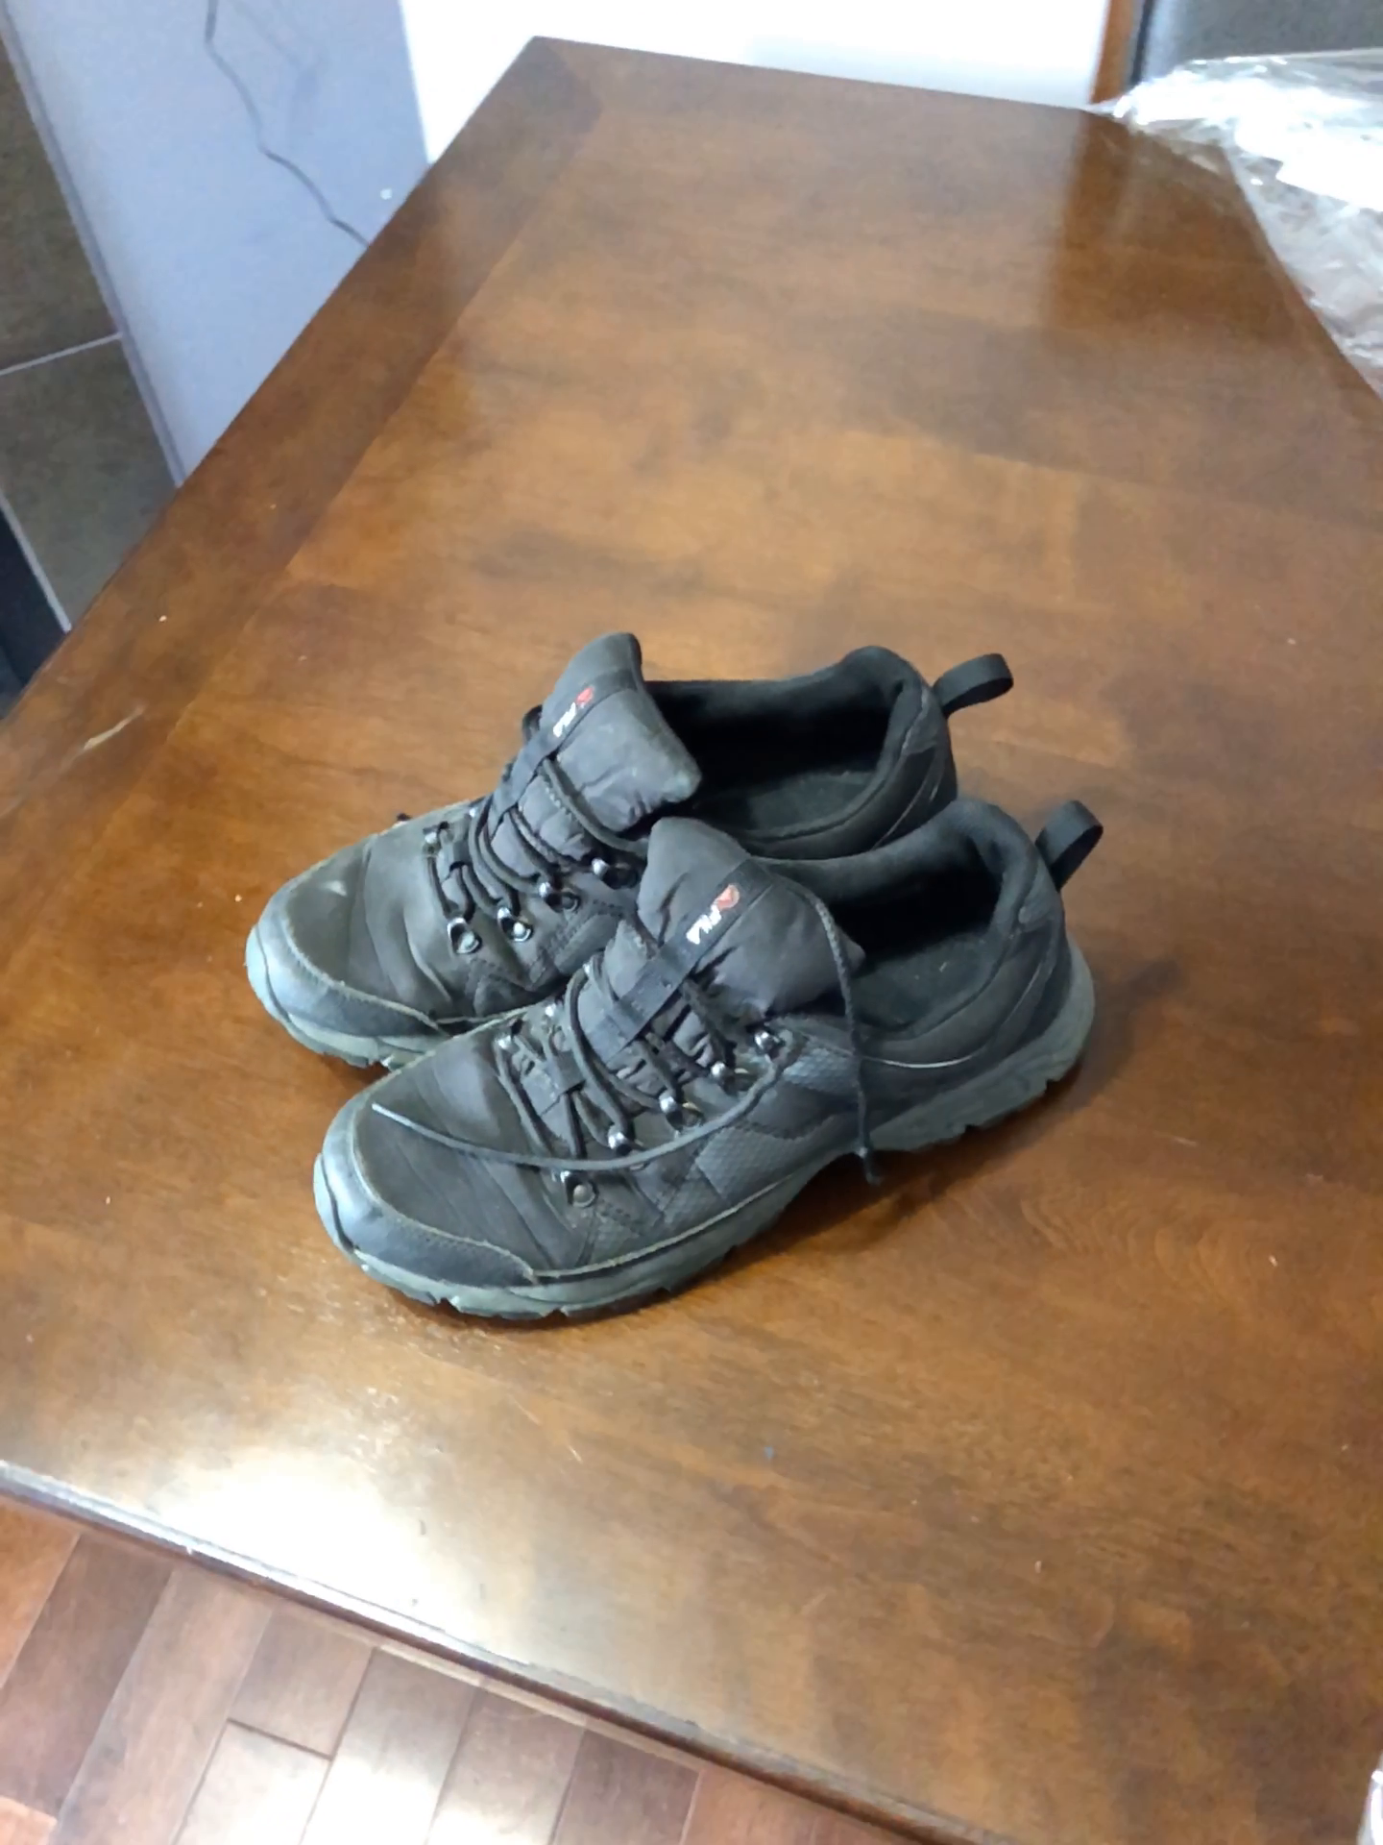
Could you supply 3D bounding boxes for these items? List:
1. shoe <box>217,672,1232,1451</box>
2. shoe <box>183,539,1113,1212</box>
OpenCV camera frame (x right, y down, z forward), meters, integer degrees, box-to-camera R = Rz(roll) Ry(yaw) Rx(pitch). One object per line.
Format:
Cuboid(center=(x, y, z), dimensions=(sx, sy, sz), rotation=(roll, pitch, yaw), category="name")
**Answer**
Cuboid(center=(0.015, 0.051, 0.575), dimensions=(0.320, 0.150, 0.120), rotation=(-22, 58, -13), category="shoe")
Cuboid(center=(-0.016, -0.017, 0.630), dimensions=(0.320, 0.170, 0.120), rotation=(-16, 56, -8), category="shoe")
